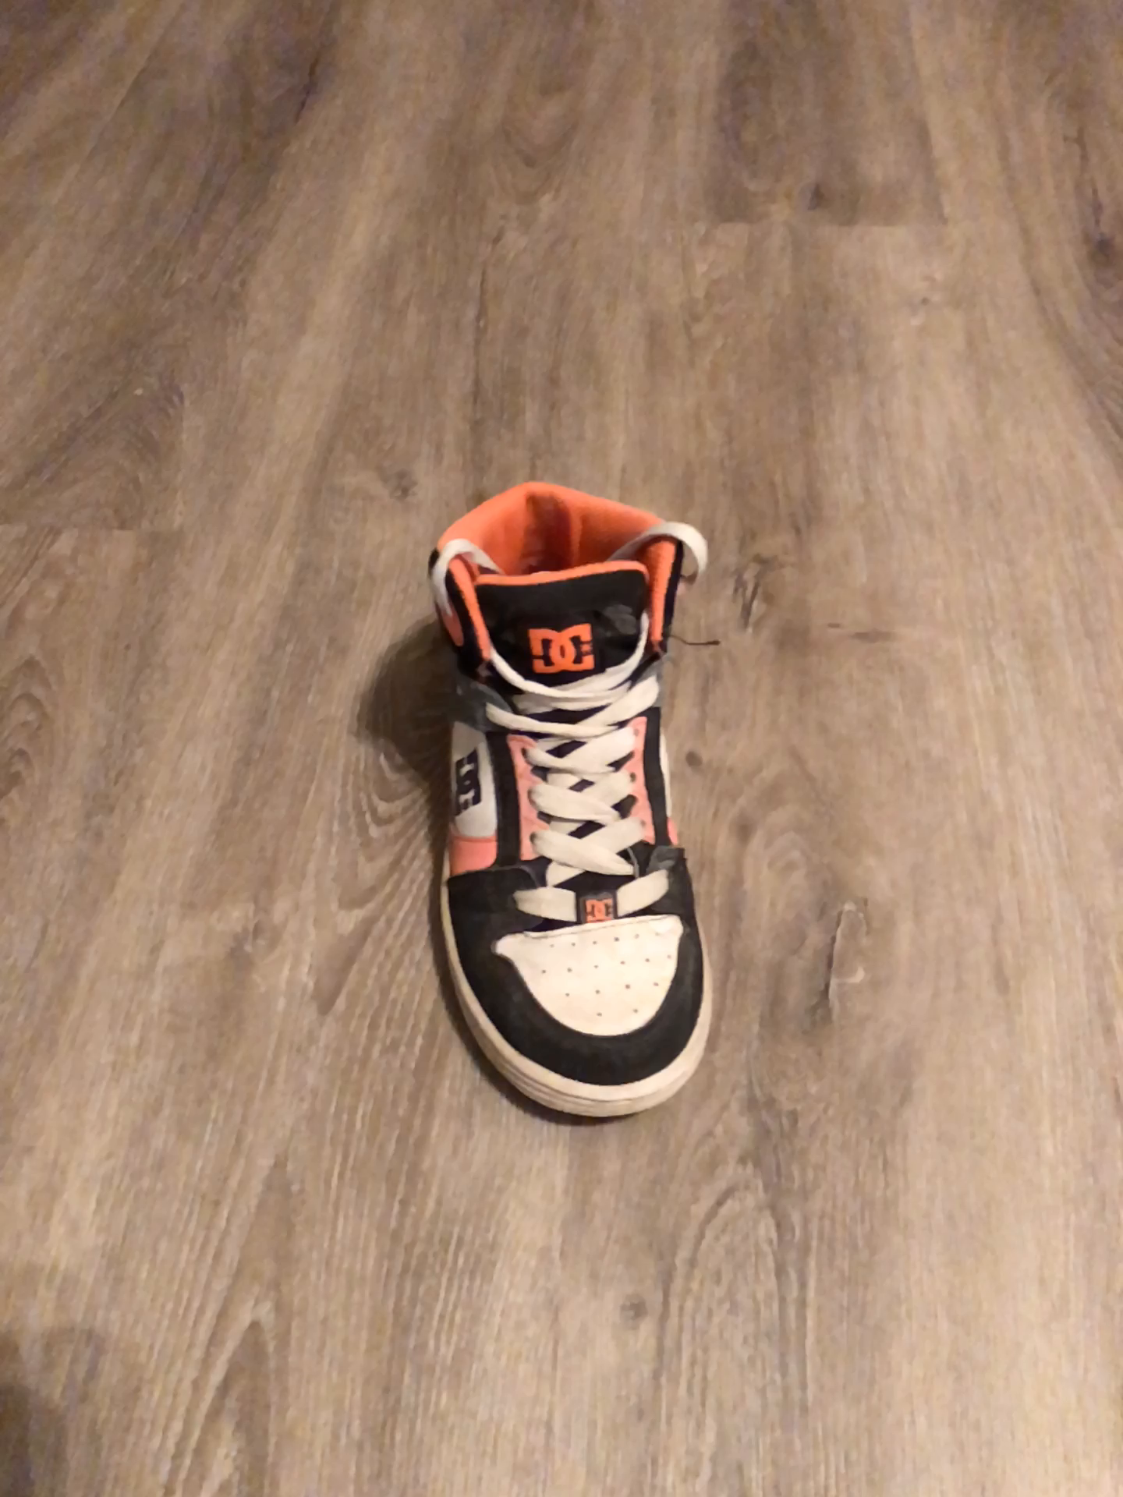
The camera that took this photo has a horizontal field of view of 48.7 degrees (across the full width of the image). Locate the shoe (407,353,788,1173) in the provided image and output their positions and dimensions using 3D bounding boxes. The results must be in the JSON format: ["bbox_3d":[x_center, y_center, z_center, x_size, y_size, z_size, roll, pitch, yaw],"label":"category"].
[{"bbox_3d":[0.001,-0.002,0.427,0.090,0.140,0.241,-4,52,-2],"label":"shoe"}]
